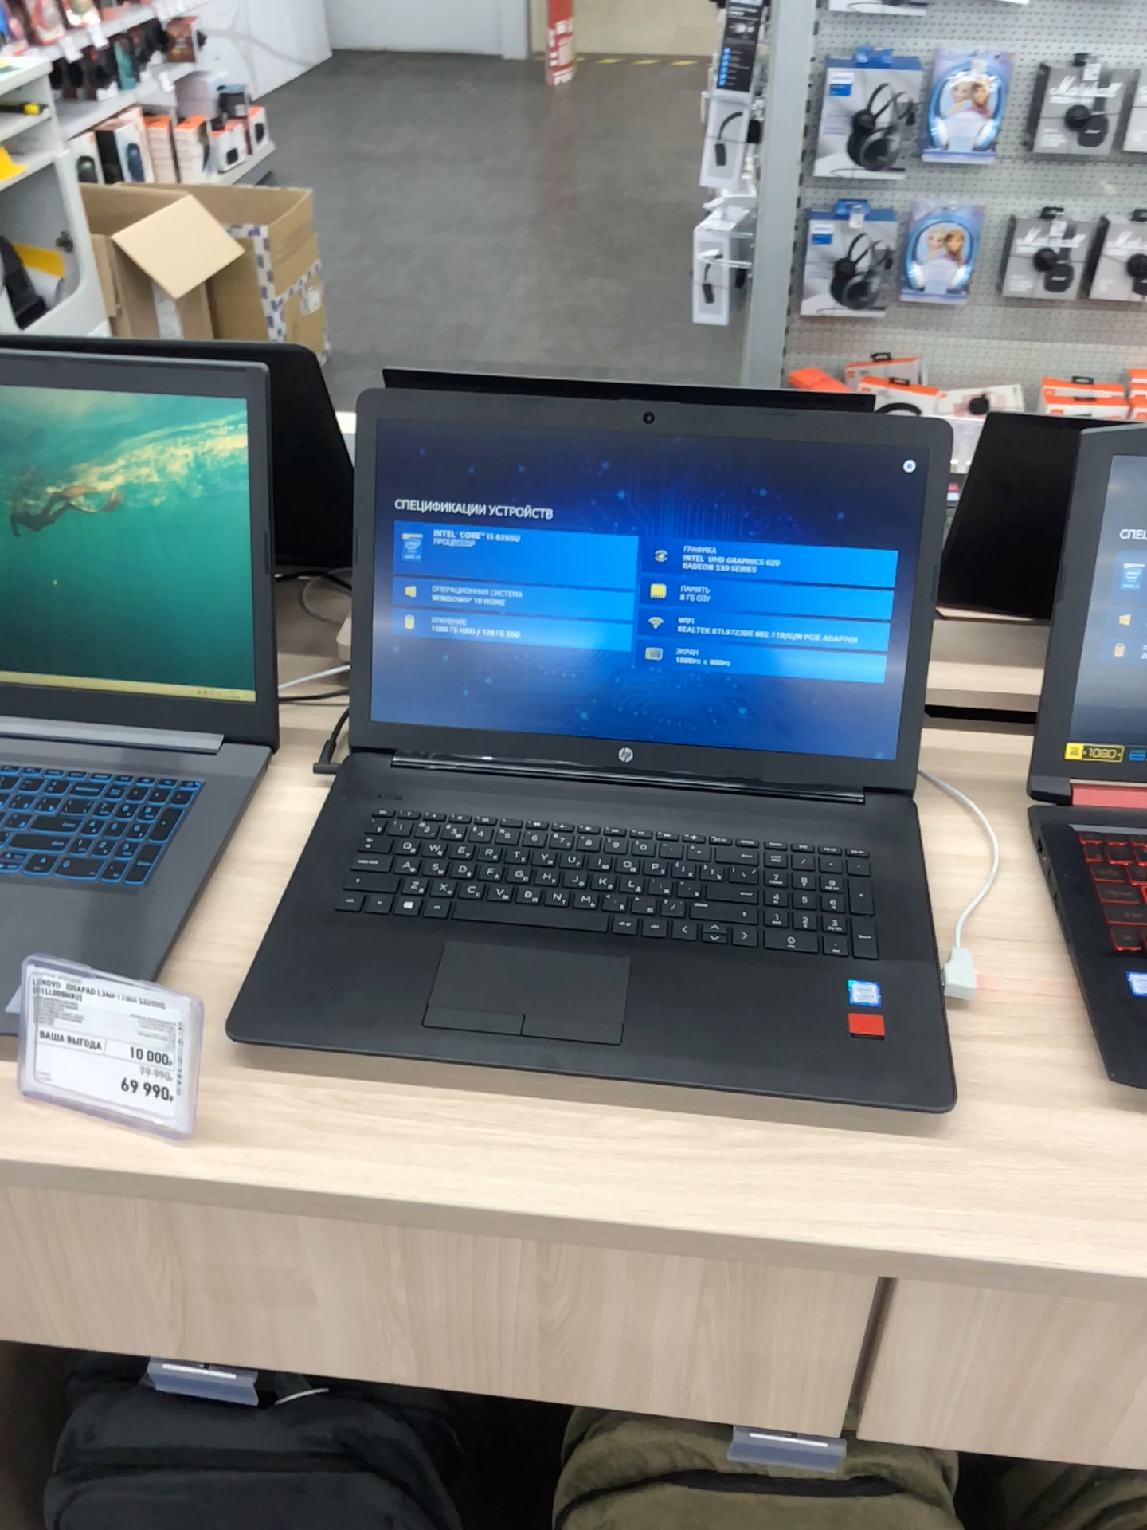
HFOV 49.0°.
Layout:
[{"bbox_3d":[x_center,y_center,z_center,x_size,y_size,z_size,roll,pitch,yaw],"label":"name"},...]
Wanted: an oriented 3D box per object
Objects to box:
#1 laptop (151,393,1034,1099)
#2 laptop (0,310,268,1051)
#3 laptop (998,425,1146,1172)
[{"bbox_3d":[0.026,-0.038,0.760,0.387,0.213,0.374,4,38,5],"label":"laptop"},{"bbox_3d":[-0.429,-0.077,0.776,0.380,0.226,0.374,5,39,1],"label":"laptop"},{"bbox_3d":[0.510,-0.001,0.706,0.402,0.224,0.304,3,41,4],"label":"laptop"}]
